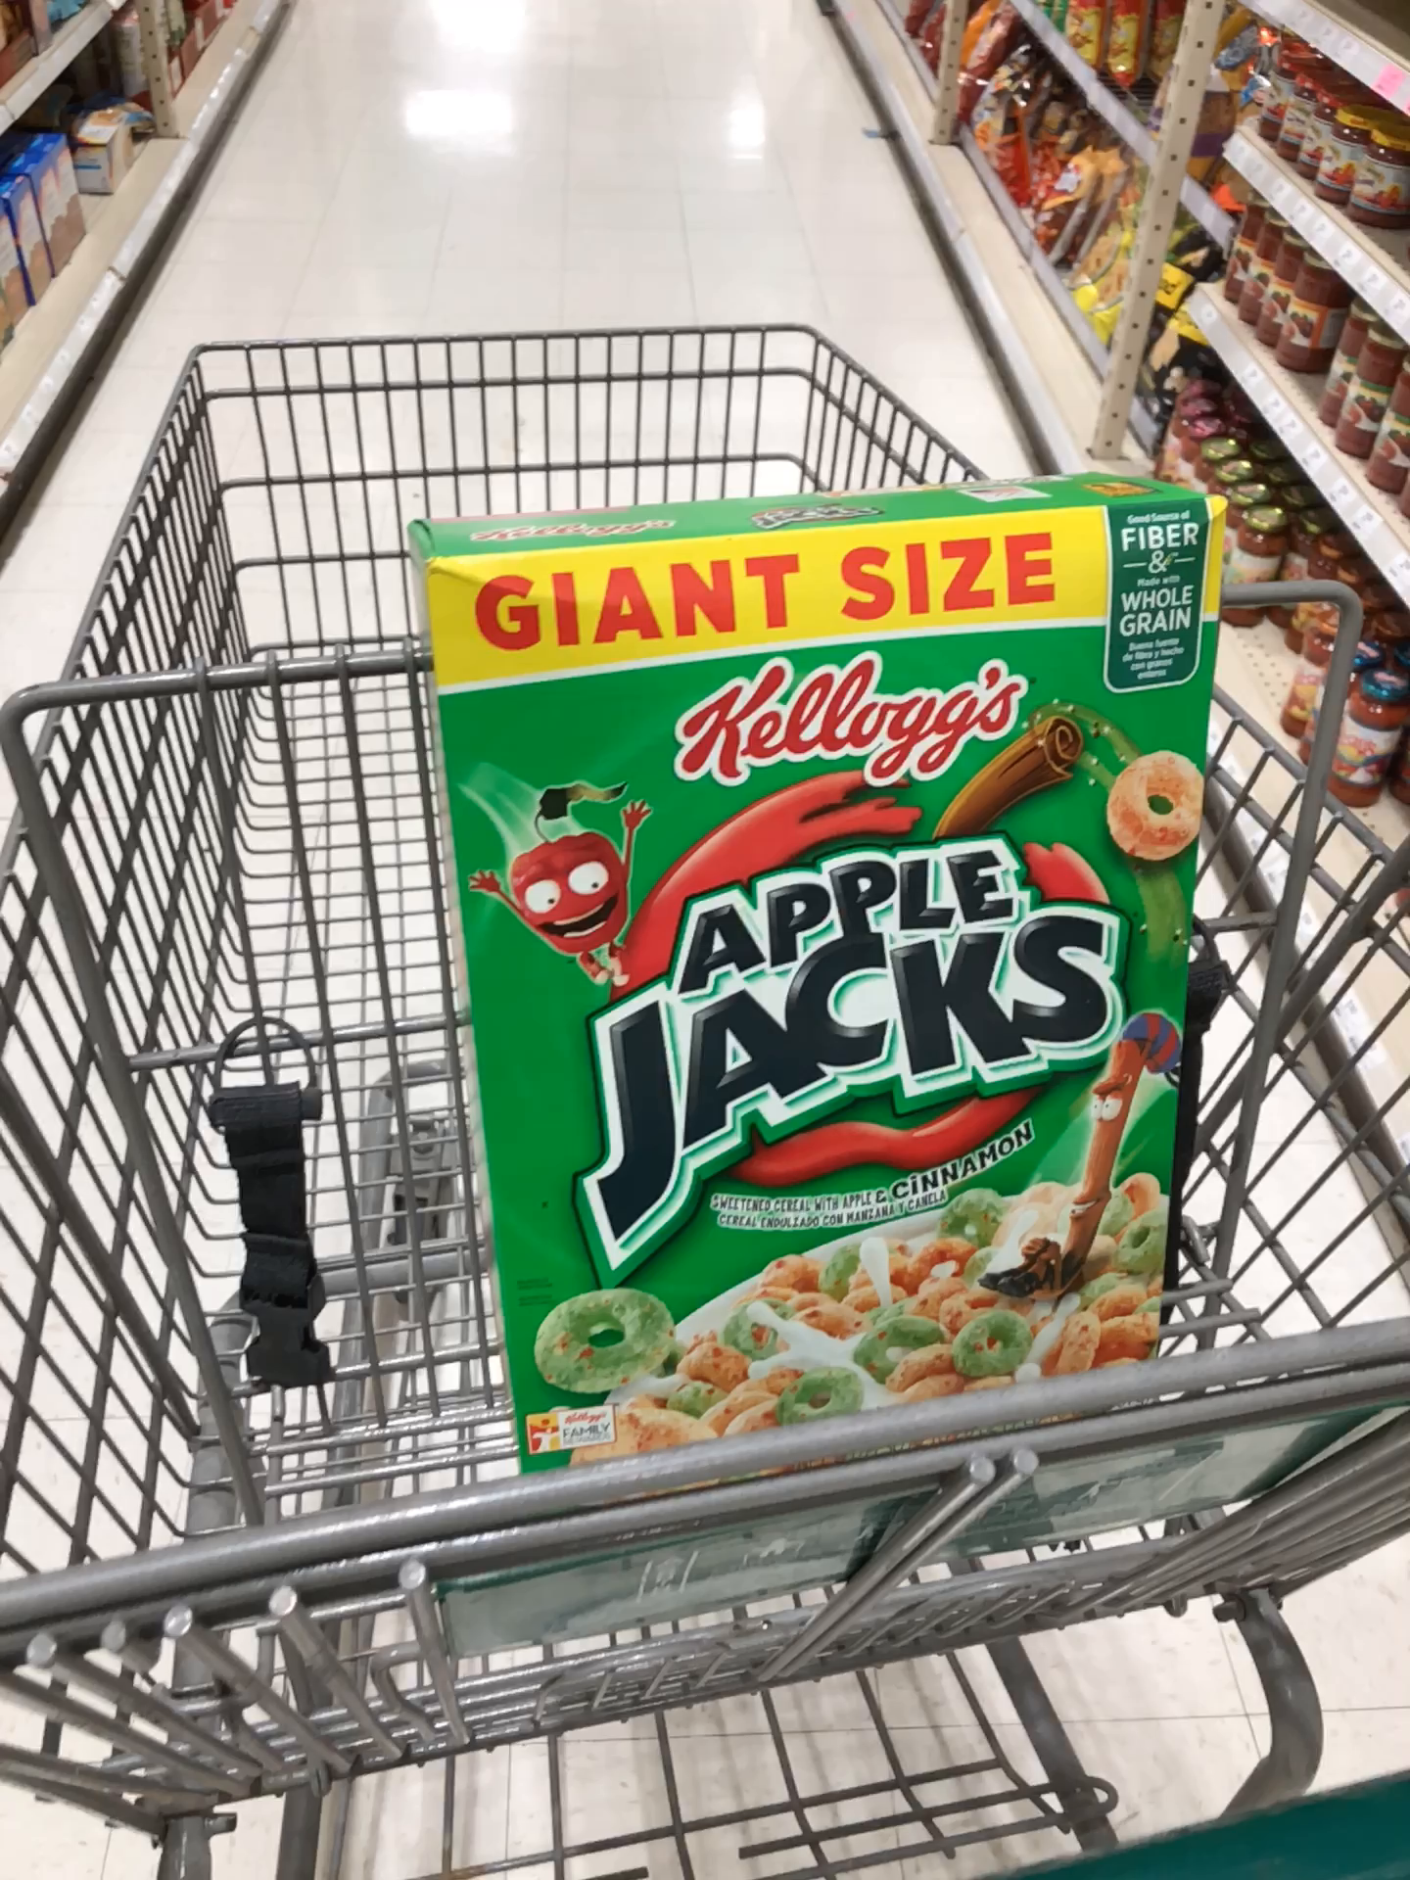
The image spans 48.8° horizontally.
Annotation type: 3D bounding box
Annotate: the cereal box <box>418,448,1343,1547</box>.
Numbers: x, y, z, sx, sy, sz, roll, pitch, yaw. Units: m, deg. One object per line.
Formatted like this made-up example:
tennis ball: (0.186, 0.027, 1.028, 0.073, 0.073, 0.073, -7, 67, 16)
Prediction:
cereal box: (0.053, 0.017, 0.509, 0.250, 0.319, 0.090, -7, 23, -11)
